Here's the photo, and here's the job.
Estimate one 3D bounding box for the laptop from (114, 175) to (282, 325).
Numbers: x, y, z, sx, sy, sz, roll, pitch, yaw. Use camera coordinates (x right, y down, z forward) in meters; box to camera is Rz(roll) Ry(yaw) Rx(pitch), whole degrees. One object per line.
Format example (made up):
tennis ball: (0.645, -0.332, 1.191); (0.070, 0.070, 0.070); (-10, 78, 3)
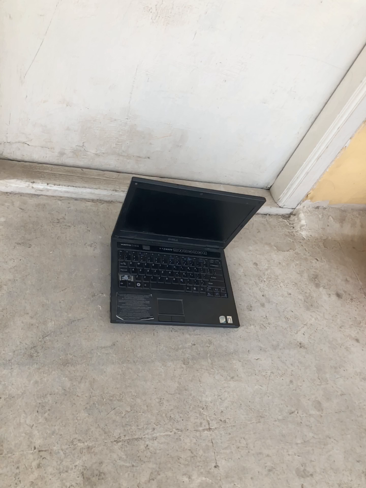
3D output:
laptop: (0.014, 0.025, 0.893); (0.293, 0.218, 0.214); (6, 52, -18)
